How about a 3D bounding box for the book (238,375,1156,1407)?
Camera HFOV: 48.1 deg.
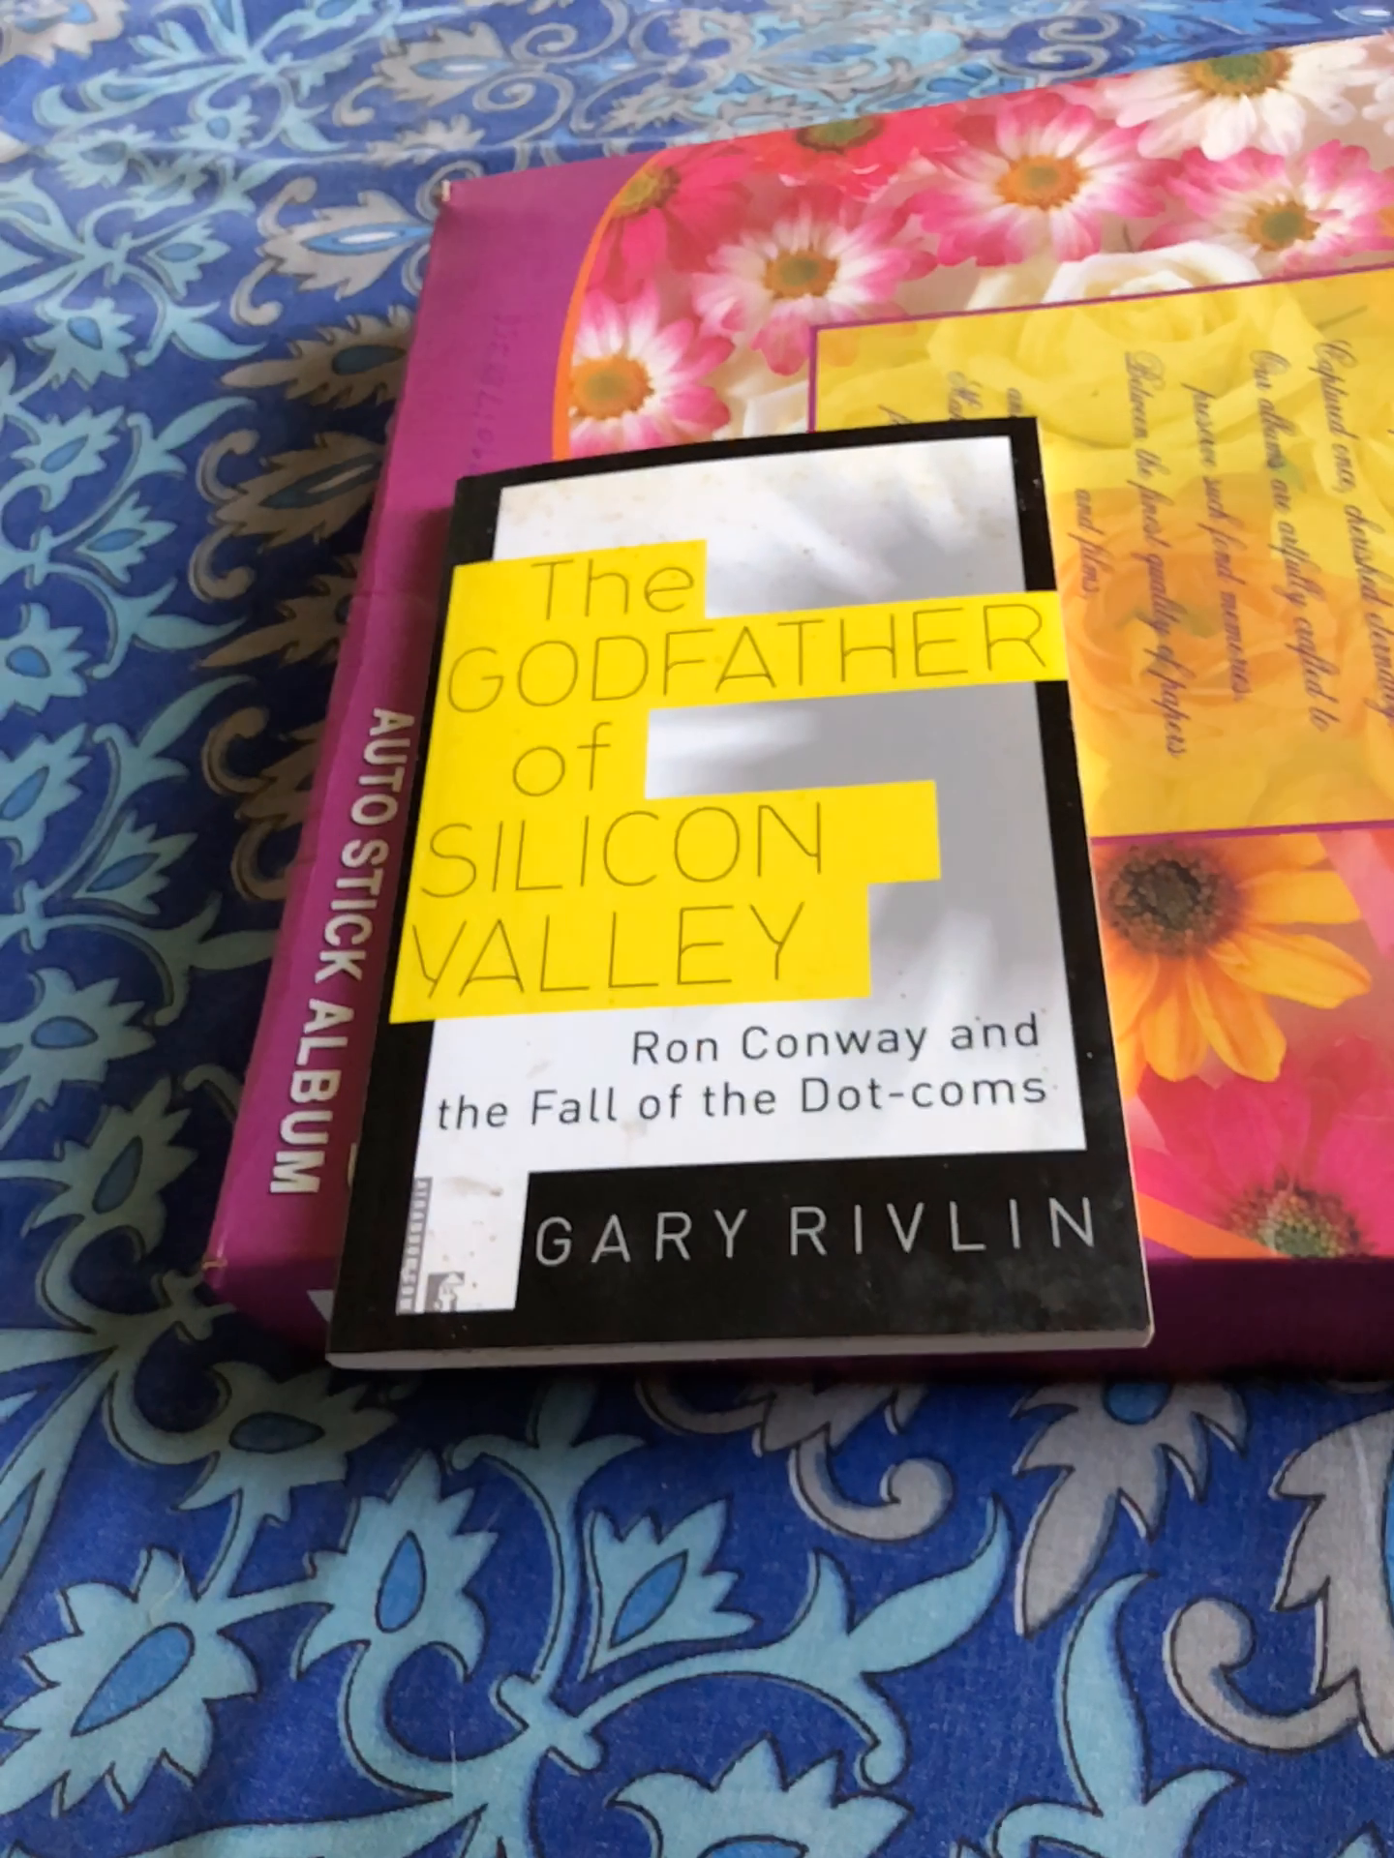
[{"bbox_3d":[0.002,-0.019,0.314,0.150,0.020,0.221,-2,61,8],"label":"book"}]
